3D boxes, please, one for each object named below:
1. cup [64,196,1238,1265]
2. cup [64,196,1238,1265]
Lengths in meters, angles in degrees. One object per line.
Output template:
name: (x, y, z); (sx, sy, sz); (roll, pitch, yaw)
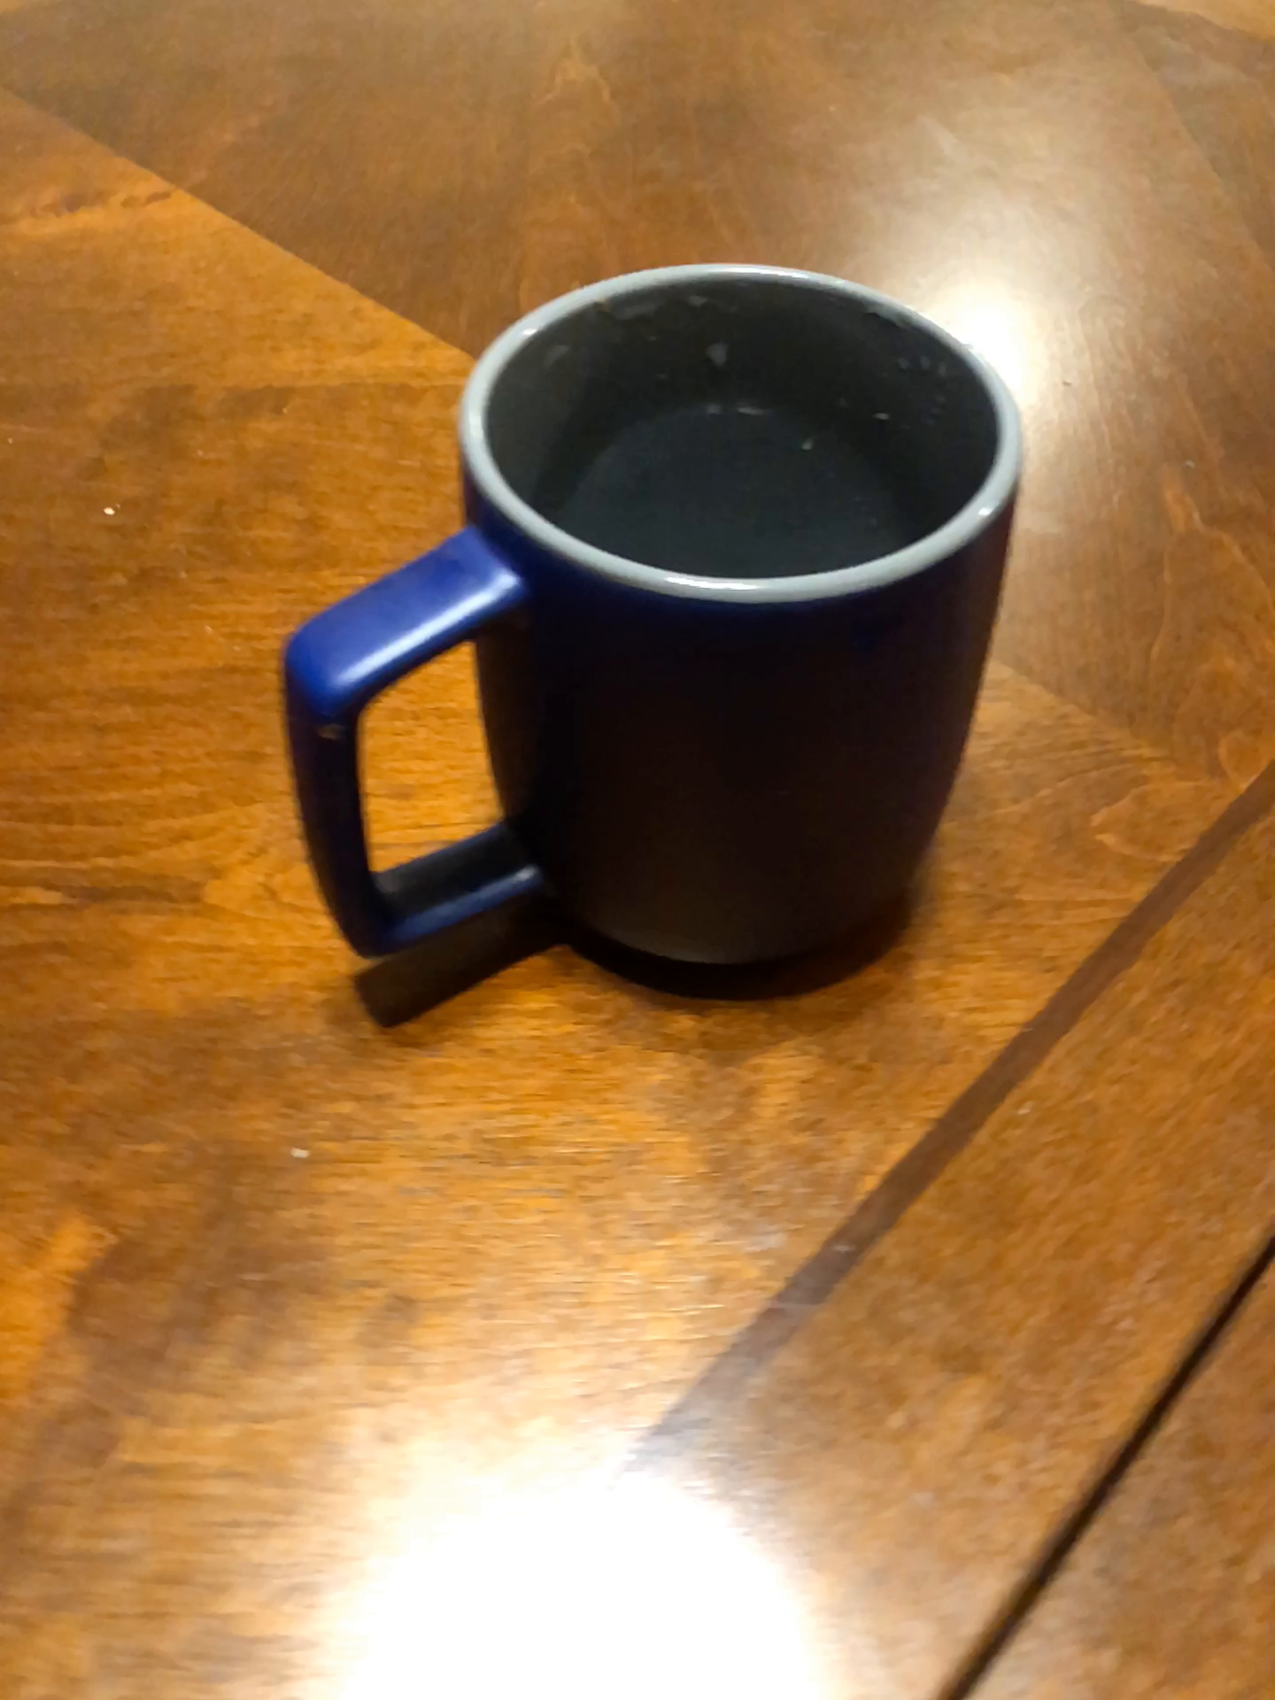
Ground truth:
cup: (0.001, -0.026, 0.245); (0.140, 0.099, 0.100); (-27, 55, -20)
cup: (0.001, -0.026, 0.245); (0.140, 0.099, 0.100); (-27, 55, -20)
